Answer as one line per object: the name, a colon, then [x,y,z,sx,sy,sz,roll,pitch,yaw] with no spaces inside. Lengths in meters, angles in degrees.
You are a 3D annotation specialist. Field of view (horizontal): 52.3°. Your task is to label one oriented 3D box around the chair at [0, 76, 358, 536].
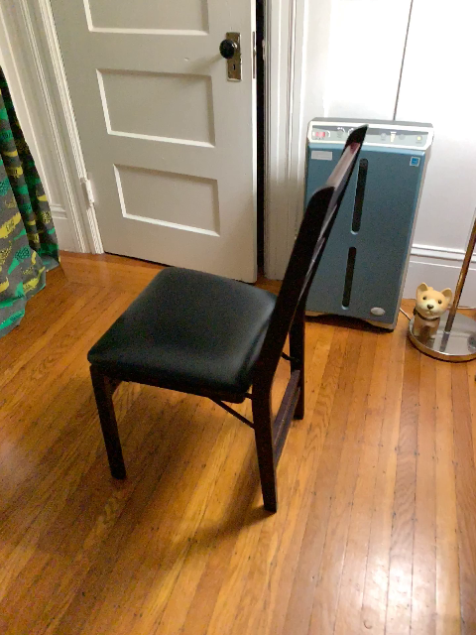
chair: [-0.078,-0.027,1.123,0.551,0.865,0.492,9,38,14]
